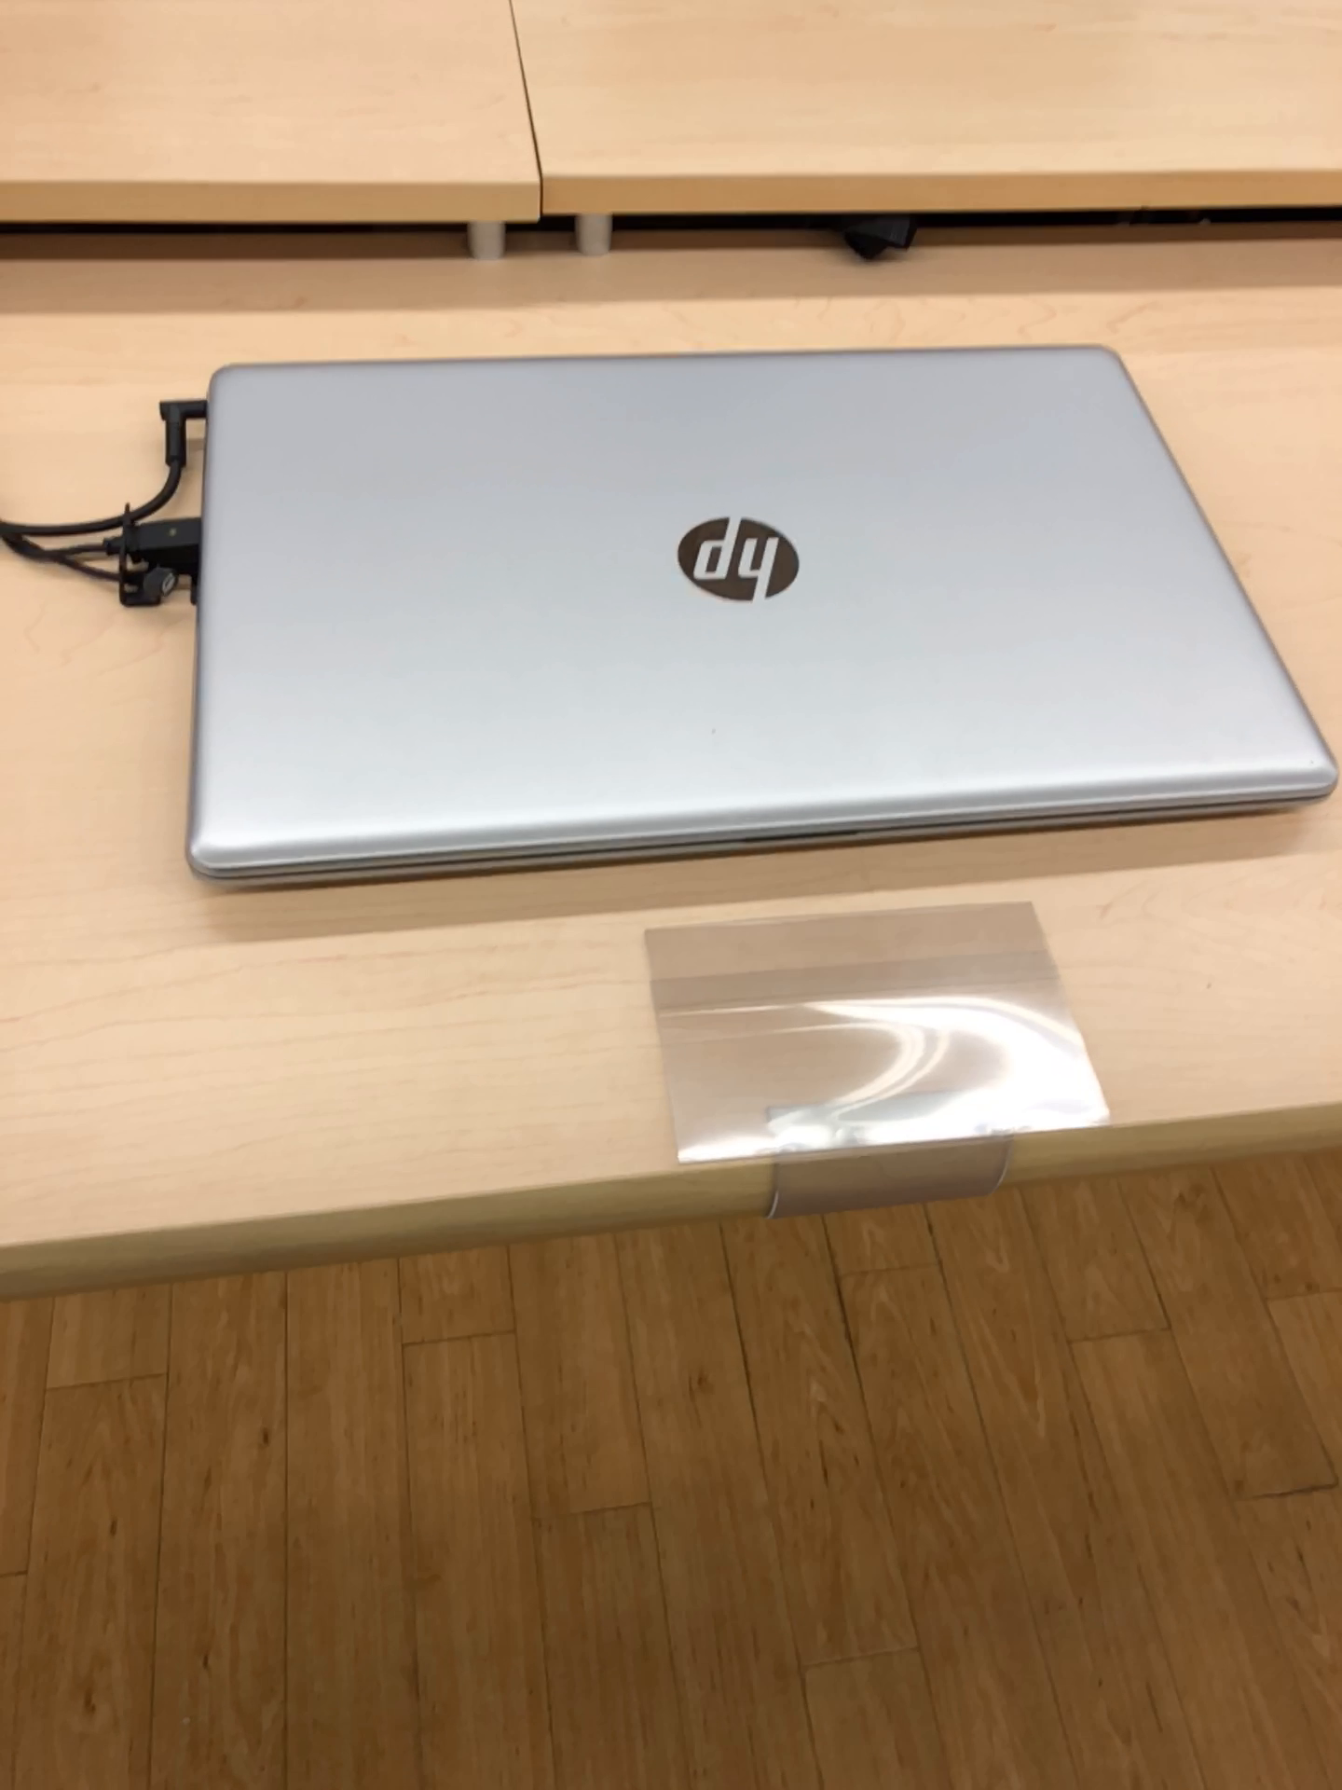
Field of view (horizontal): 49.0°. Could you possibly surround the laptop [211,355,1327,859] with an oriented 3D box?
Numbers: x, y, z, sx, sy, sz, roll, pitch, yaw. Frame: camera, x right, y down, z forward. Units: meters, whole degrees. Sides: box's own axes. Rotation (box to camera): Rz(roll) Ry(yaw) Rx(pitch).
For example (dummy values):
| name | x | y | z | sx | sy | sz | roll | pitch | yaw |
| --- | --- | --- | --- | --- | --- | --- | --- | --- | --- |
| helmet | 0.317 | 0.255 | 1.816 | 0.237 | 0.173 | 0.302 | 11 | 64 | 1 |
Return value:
| name | x | y | z | sx | sy | sz | roll | pitch | yaw |
| --- | --- | --- | --- | --- | --- | --- | --- | --- | --- |
| laptop | 0.026 | -0.132 | 0.585 | 0.397 | 0.001 | 0.258 | -4 | 55 | -9 |
